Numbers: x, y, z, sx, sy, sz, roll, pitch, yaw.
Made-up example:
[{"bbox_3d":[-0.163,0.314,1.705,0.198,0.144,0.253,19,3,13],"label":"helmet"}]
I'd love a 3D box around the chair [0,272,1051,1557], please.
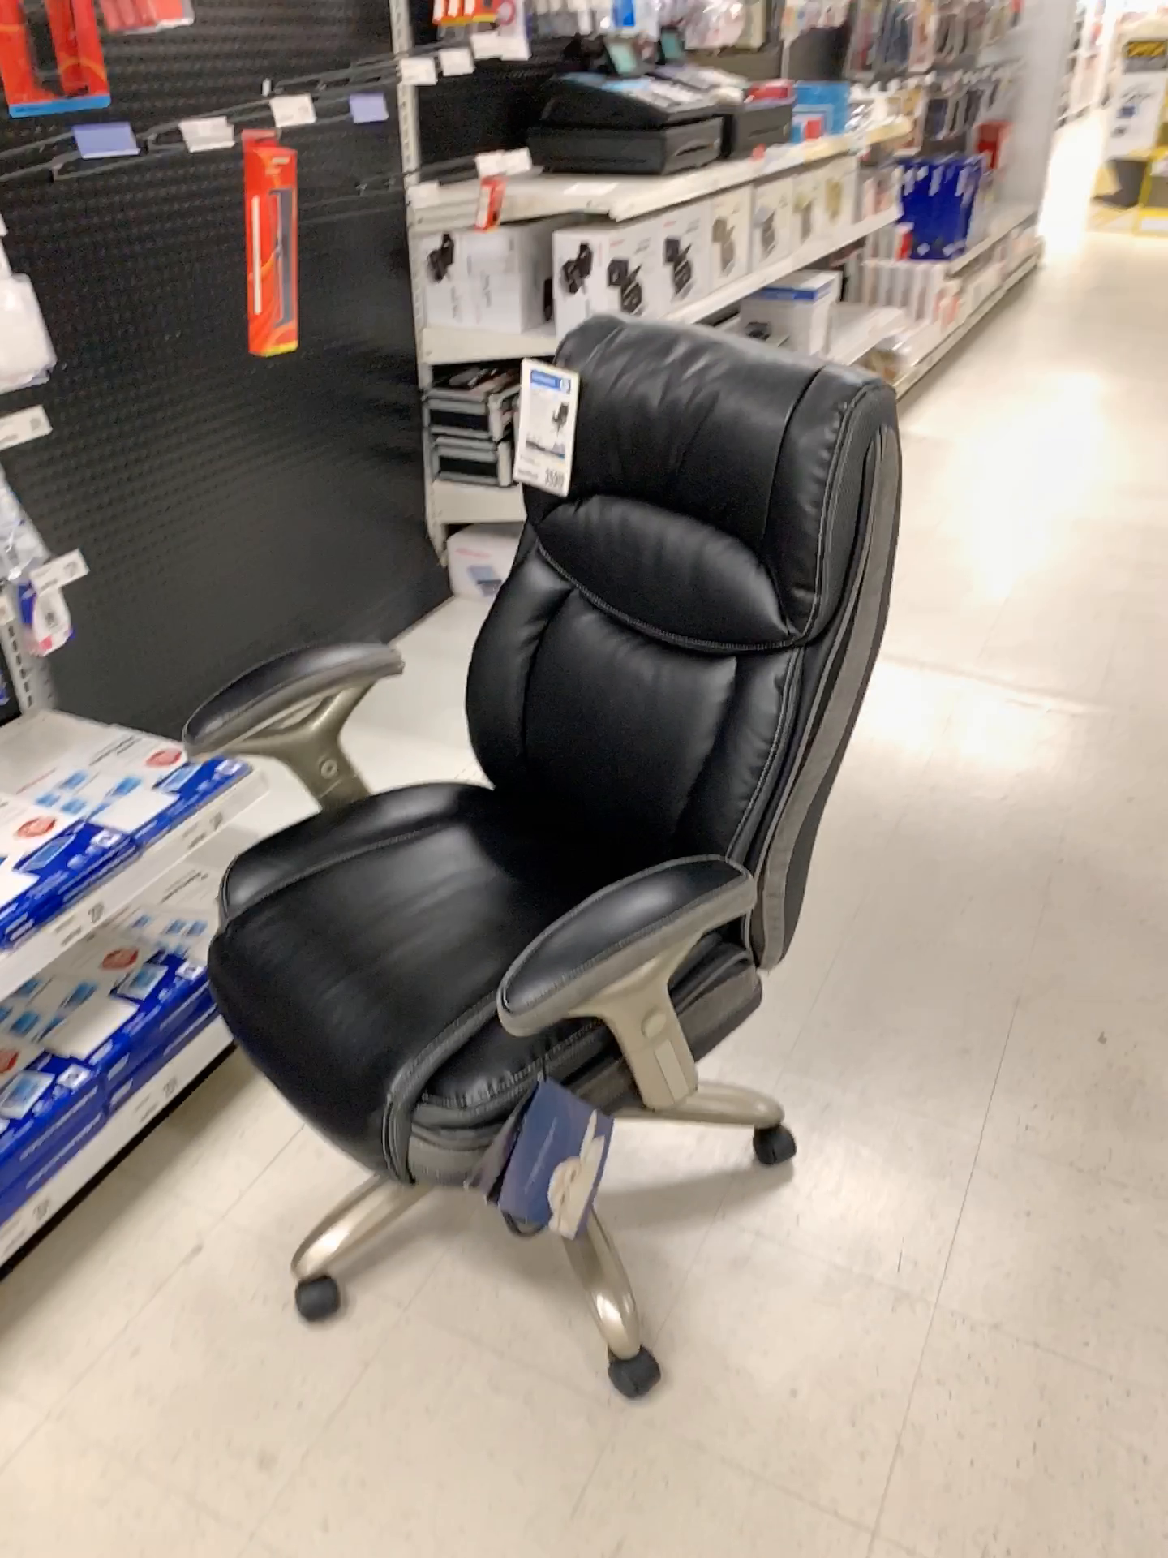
[{"bbox_3d":[-0.091,0.083,1.410,0.742,1.094,0.742,-27,41,-36],"label":"chair"}]
